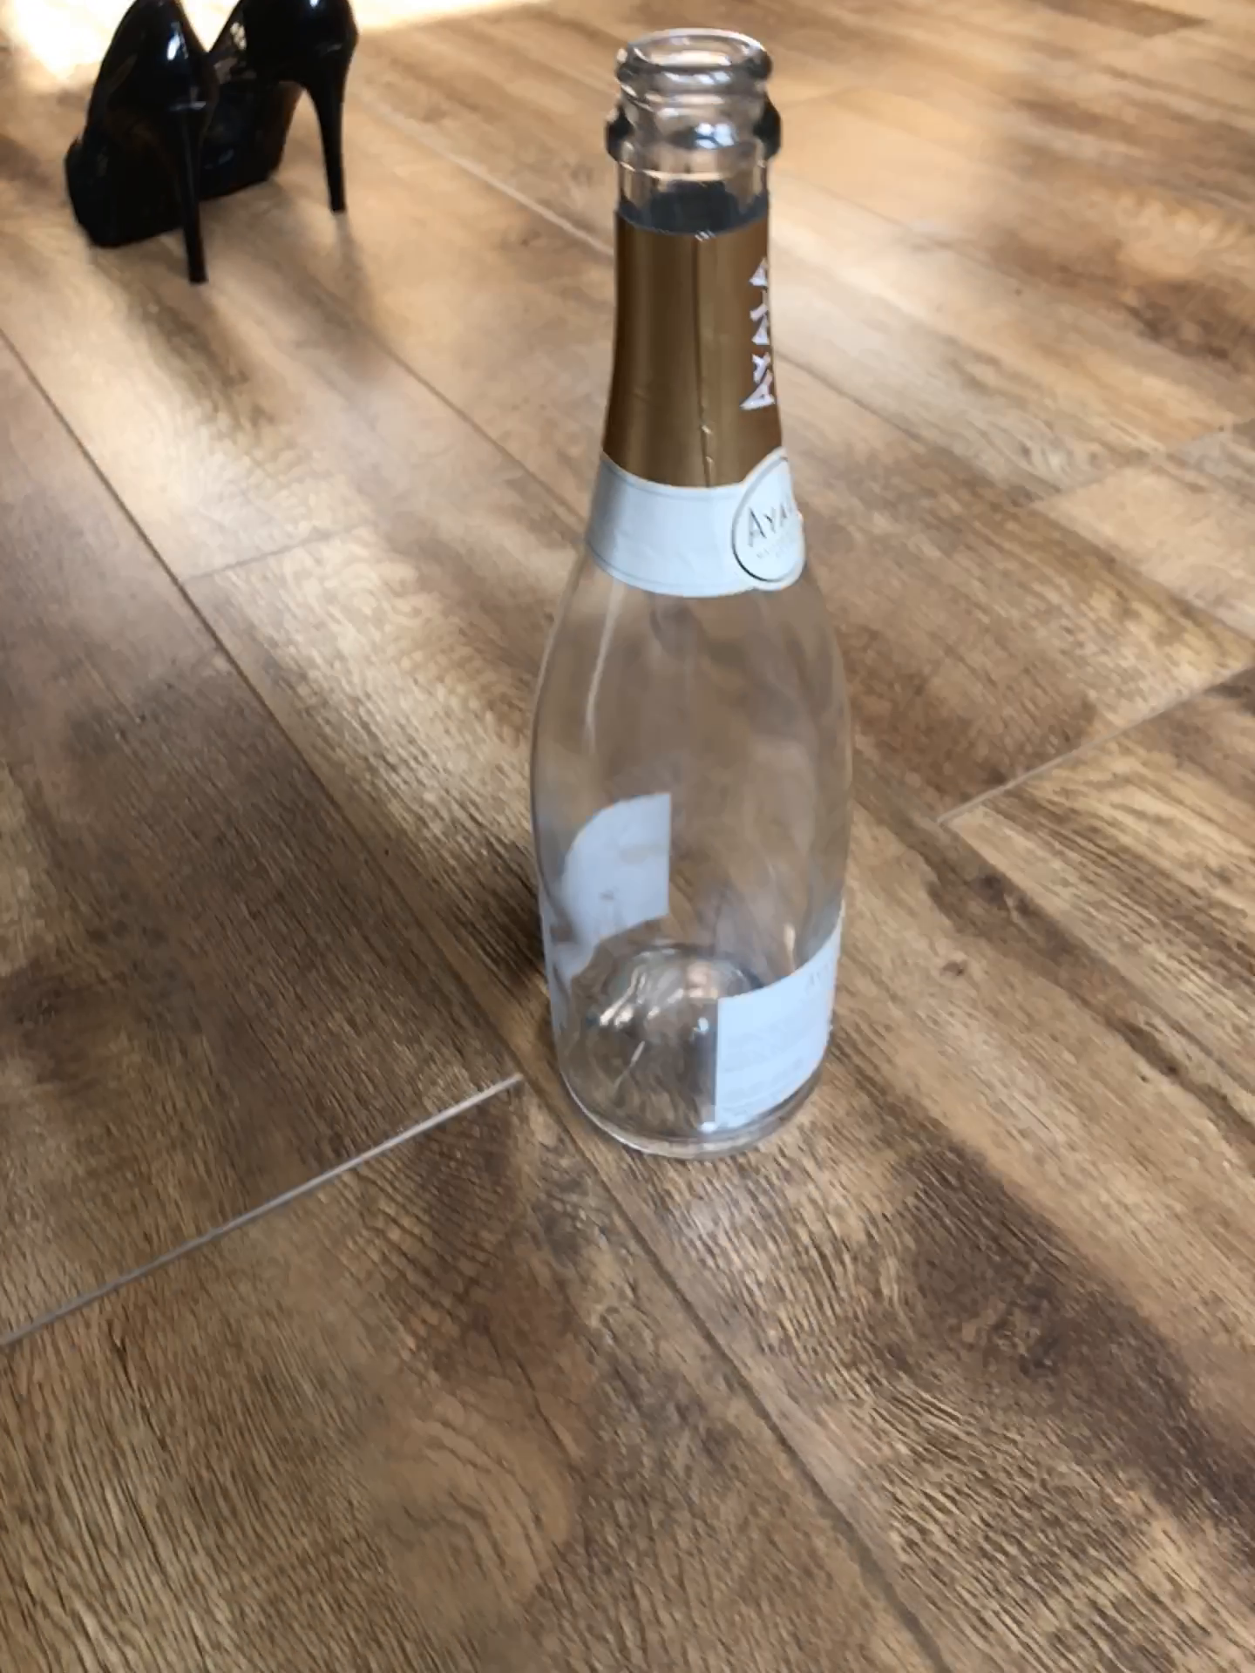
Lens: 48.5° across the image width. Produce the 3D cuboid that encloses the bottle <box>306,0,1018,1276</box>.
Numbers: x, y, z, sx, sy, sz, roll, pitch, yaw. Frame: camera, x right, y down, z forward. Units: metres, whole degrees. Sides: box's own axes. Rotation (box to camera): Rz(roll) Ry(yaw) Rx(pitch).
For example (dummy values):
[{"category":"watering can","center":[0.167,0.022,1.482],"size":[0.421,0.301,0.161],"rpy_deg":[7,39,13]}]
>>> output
[{"category":"bottle","center":[0.013,-0.026,0.344],"size":[0.090,0.298,0.091],"rpy_deg":[-1,43,1]}]
